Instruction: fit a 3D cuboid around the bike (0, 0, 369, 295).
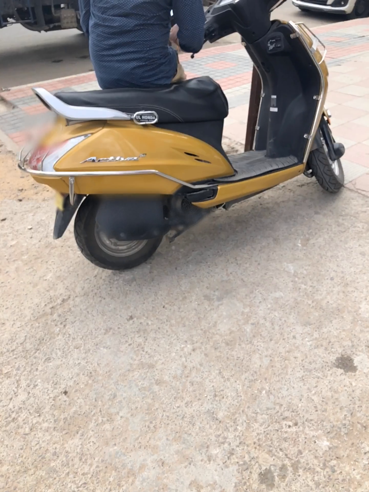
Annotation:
[{"bbox_3d":[0.110,-0.721,1.910,1.531,1.153,0.586,-25,43,-24],"label":"bike"}]
